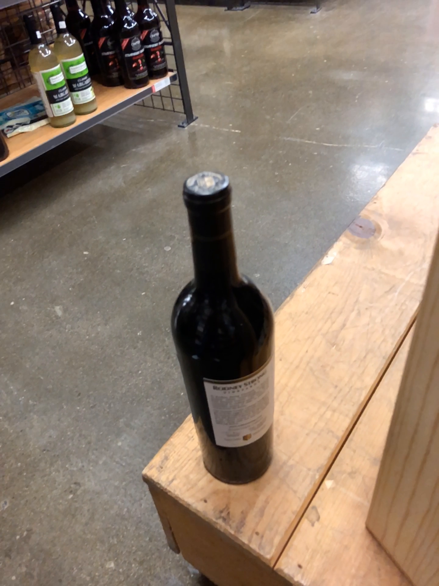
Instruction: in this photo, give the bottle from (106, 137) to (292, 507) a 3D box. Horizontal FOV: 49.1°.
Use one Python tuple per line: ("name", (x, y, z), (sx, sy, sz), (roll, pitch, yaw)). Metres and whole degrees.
("bottle", (0.002, 0.048, 0.378), (0.080, 0.309, 0.070), (-26, 45, -19))
